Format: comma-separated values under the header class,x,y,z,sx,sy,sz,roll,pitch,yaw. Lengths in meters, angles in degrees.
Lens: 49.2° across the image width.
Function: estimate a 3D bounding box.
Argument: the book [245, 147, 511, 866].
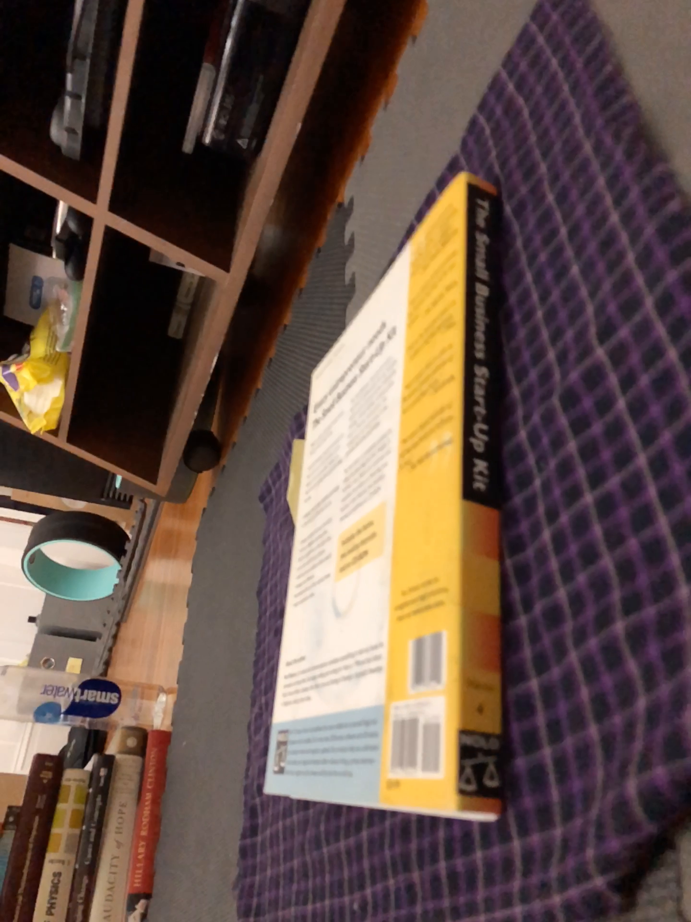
class,x,y,z,sx,sy,sz,roll,pitch,yaw
book,0.012,0.030,0.411,0.231,0.030,0.310,137,143,-60
